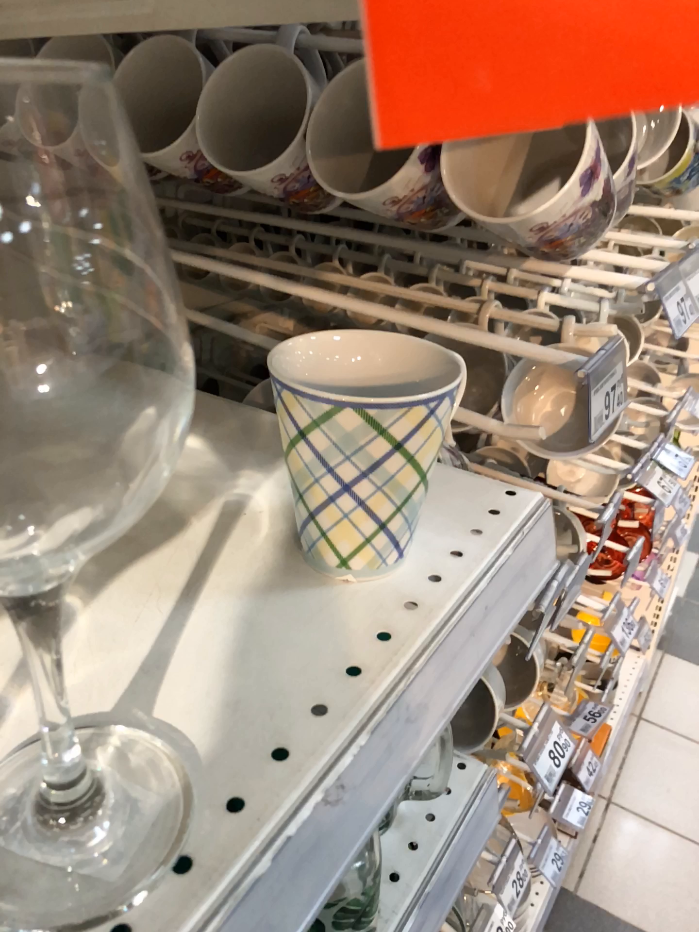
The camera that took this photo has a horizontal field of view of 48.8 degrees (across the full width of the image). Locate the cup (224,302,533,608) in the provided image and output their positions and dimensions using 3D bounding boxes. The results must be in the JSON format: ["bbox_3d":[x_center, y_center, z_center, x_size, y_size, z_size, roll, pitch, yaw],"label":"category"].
[{"bbox_3d":[0.015,-0.014,0.359,0.088,0.085,0.116,20,32,29],"label":"cup"}]
